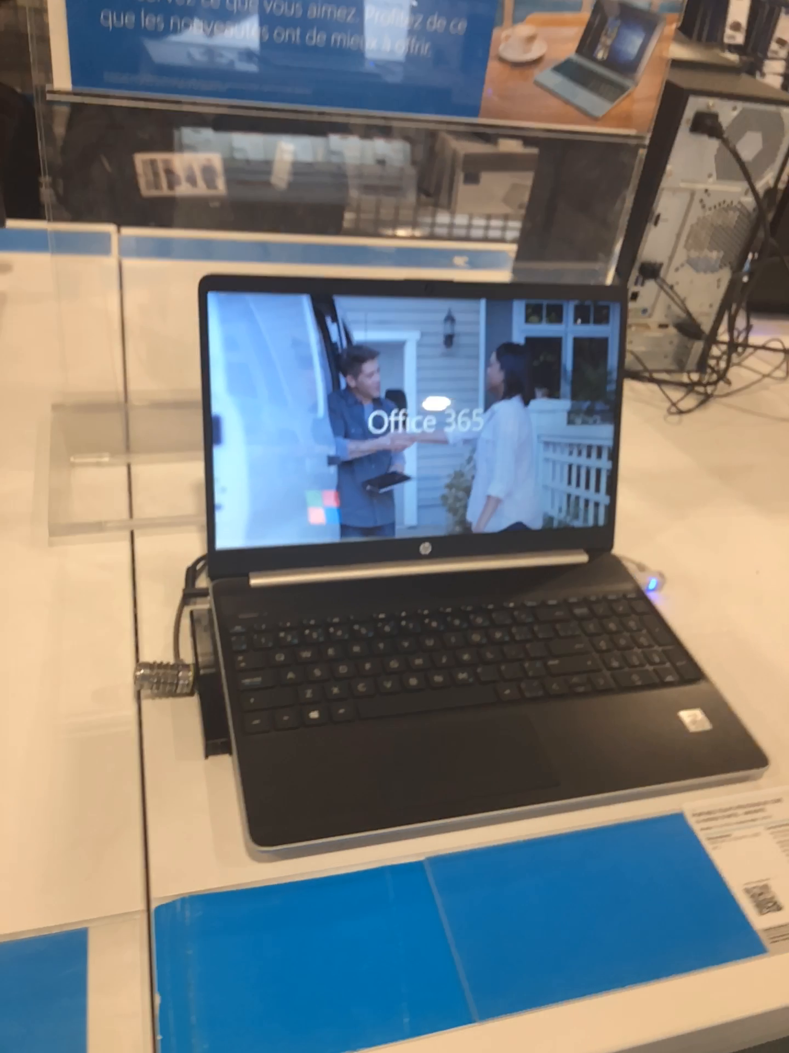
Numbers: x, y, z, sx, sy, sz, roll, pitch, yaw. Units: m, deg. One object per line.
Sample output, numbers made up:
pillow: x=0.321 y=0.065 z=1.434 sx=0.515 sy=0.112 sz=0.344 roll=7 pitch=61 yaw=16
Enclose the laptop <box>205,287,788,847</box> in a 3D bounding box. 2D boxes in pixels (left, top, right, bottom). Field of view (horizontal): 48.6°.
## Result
laptop: x=0.057 y=-0.007 z=0.618 sx=0.346 sy=0.196 sz=0.335 roll=-3 pitch=37 yaw=-17
